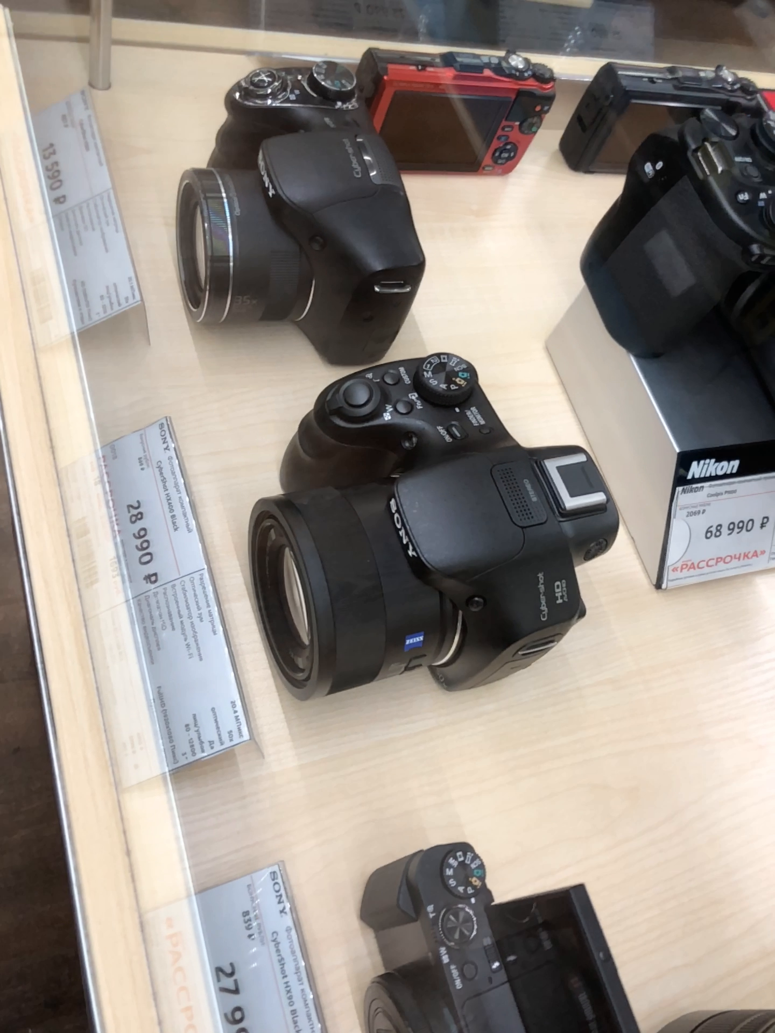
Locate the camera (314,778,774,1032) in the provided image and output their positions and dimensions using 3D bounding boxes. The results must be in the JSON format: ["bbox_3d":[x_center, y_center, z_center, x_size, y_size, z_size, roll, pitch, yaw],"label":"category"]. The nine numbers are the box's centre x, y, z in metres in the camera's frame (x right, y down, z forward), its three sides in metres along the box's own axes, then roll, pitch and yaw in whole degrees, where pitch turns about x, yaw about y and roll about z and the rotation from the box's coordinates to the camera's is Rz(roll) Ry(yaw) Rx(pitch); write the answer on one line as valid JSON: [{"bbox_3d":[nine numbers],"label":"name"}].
[{"bbox_3d":[0.035,0.156,0.244,0.056,0.113,0.125,-10,65,-24],"label":"camera"}]

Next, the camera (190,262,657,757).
[{"bbox_3d":[0.001,-0.006,0.303,0.104,0.086,0.137,-10,65,-24],"label":"camera"}]

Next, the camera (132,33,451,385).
[{"bbox_3d":[-0.048,-0.133,0.373,0.096,0.073,0.122,-10,65,-24],"label":"camera"}]
